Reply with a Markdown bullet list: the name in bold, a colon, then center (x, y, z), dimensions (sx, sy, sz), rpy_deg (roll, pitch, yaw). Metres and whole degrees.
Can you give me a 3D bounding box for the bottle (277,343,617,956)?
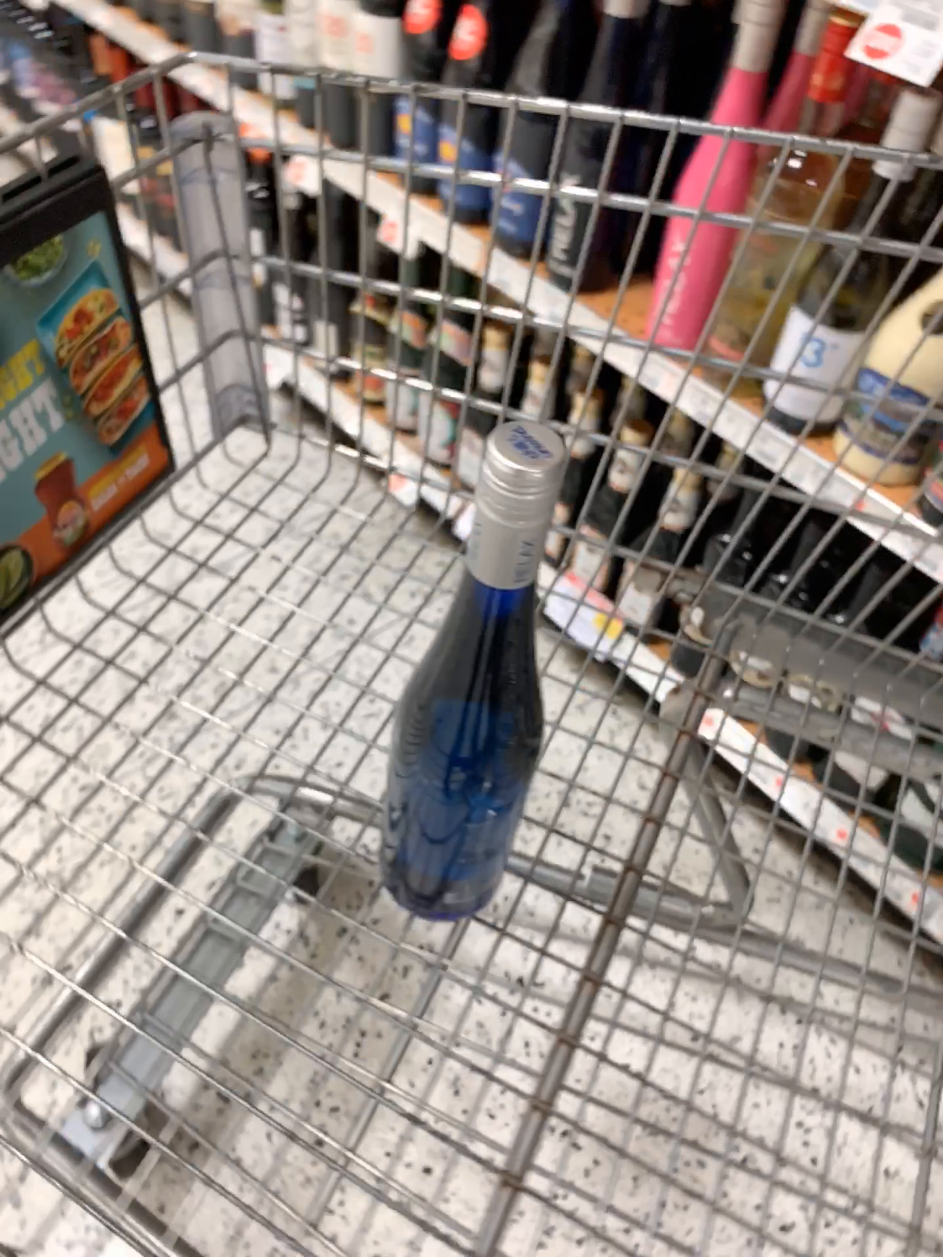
- **bottle**: center (-0.017, 0.034, 0.464), dimensions (0.090, 0.307, 0.091), rpy_deg (3, 49, -3)
